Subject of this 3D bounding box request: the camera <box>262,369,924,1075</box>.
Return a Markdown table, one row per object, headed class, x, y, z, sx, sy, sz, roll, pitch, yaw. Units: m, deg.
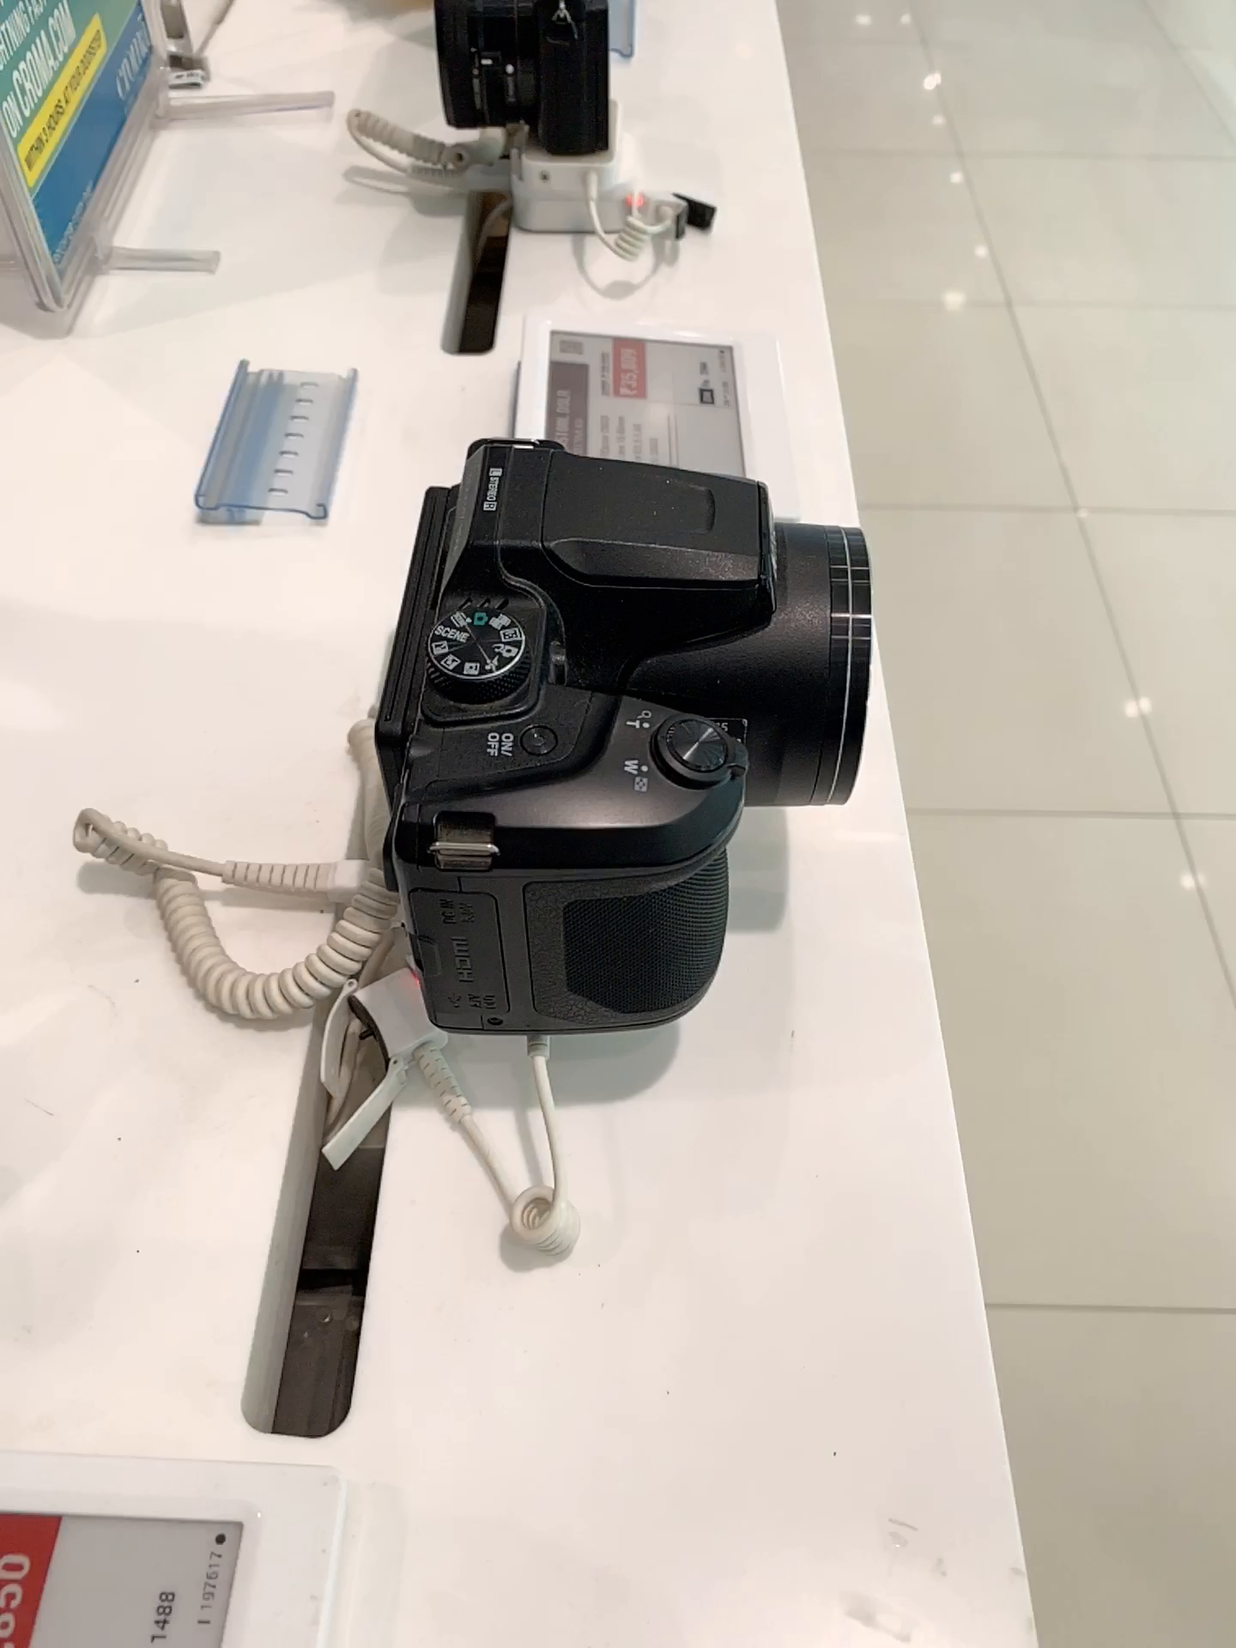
| class | x | y | z | sx | sy | sz | roll | pitch | yaw |
| --- | --- | --- | --- | --- | --- | --- | --- | --- | --- |
| camera | -0.003 | -0.023 | 0.262 | 0.100 | 0.080 | 0.120 | 1 | 51 | 1 |
